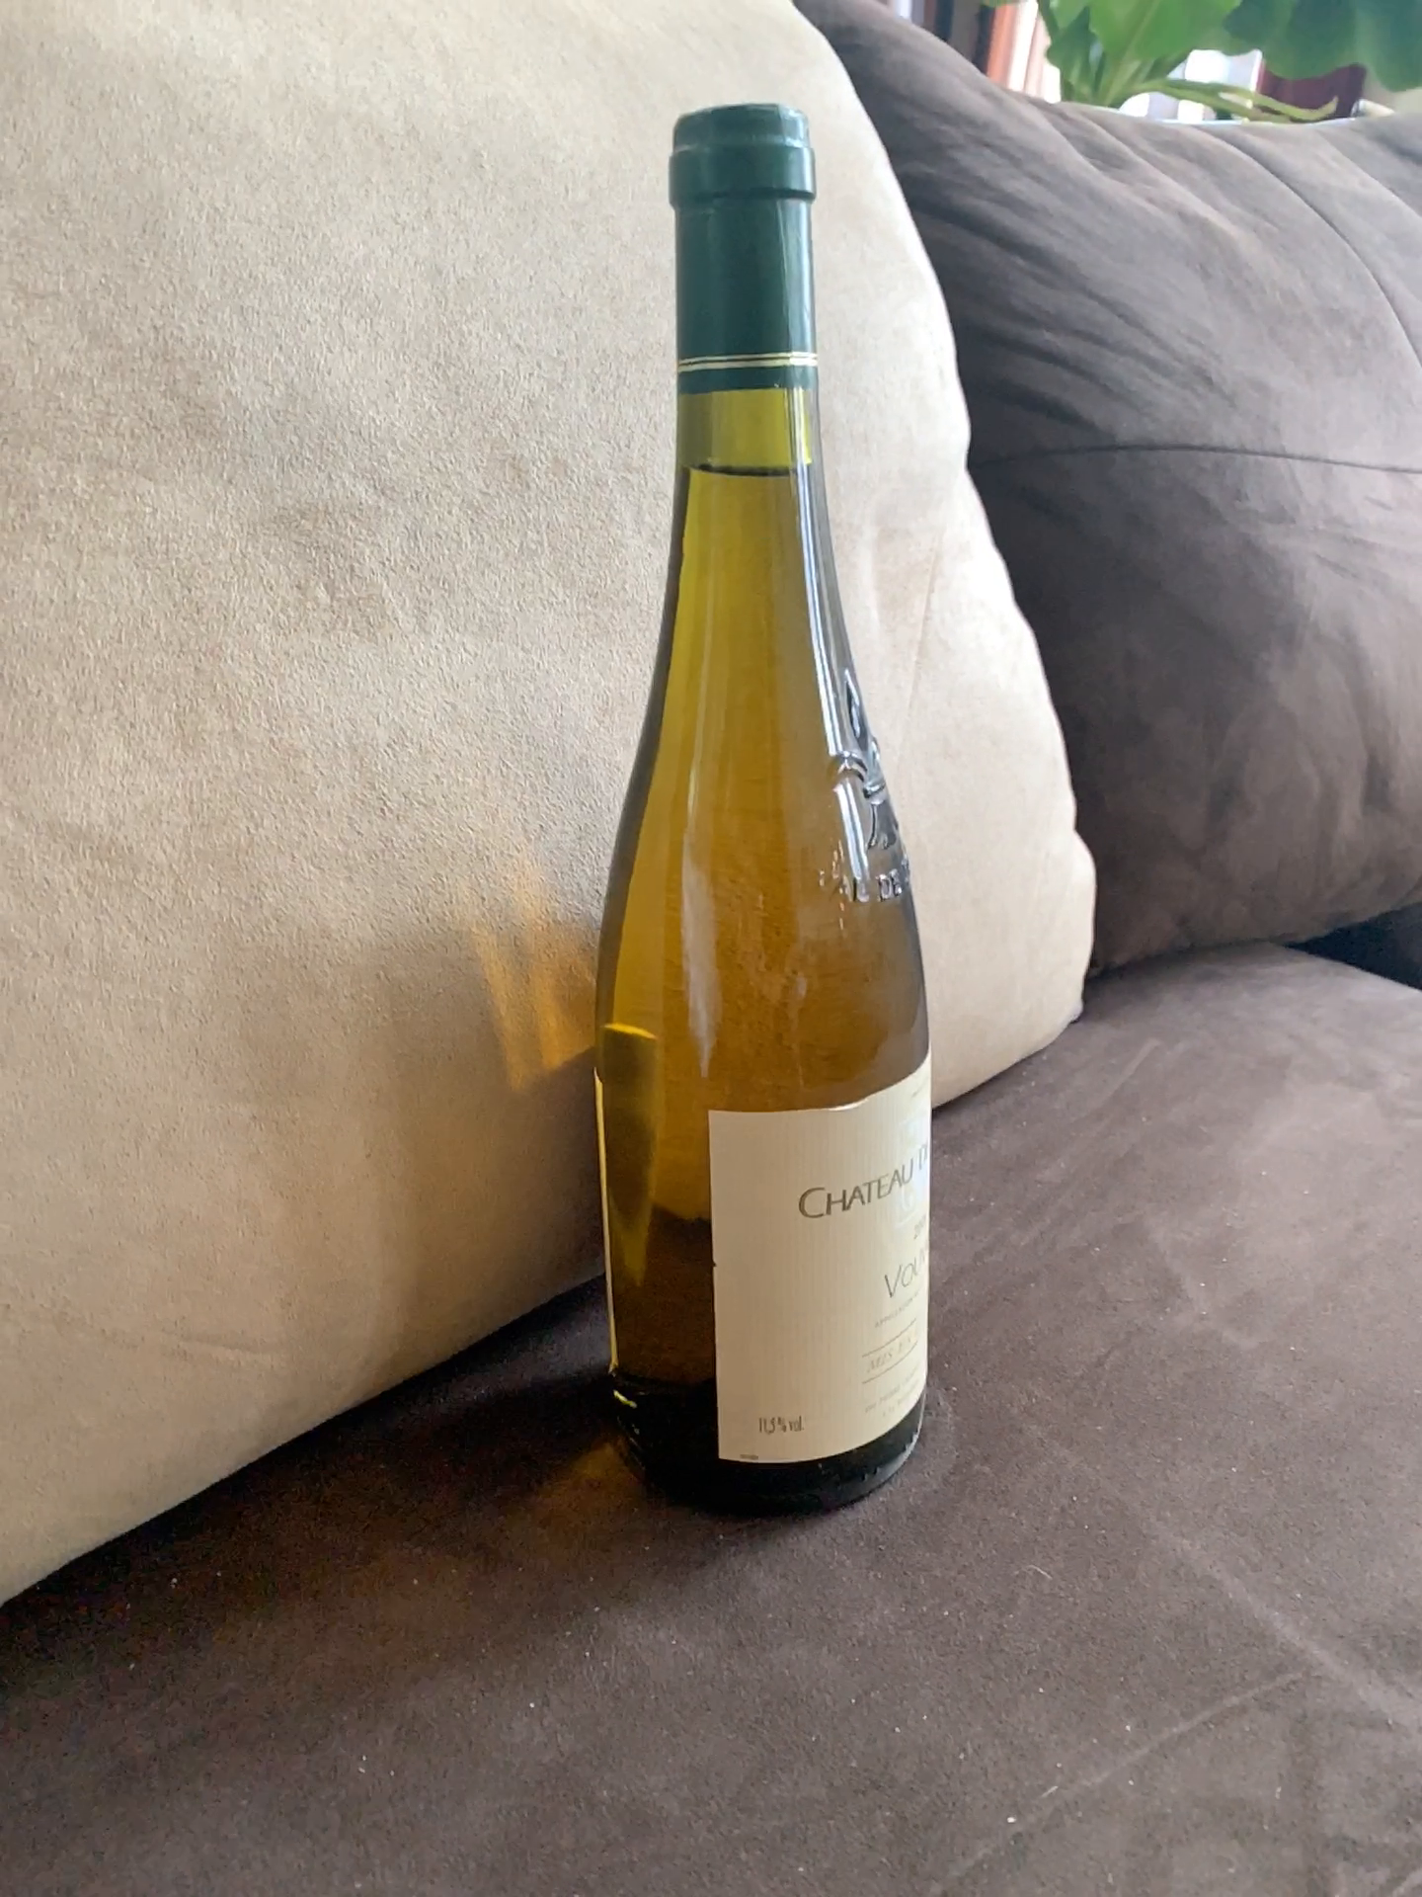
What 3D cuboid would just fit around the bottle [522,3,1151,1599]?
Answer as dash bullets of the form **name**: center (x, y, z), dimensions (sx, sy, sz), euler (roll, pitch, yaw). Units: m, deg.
- **bottle**: center (0.022, -0.022, 0.333), dimensions (0.090, 0.309, 0.100), euler (12, 23, 21)
